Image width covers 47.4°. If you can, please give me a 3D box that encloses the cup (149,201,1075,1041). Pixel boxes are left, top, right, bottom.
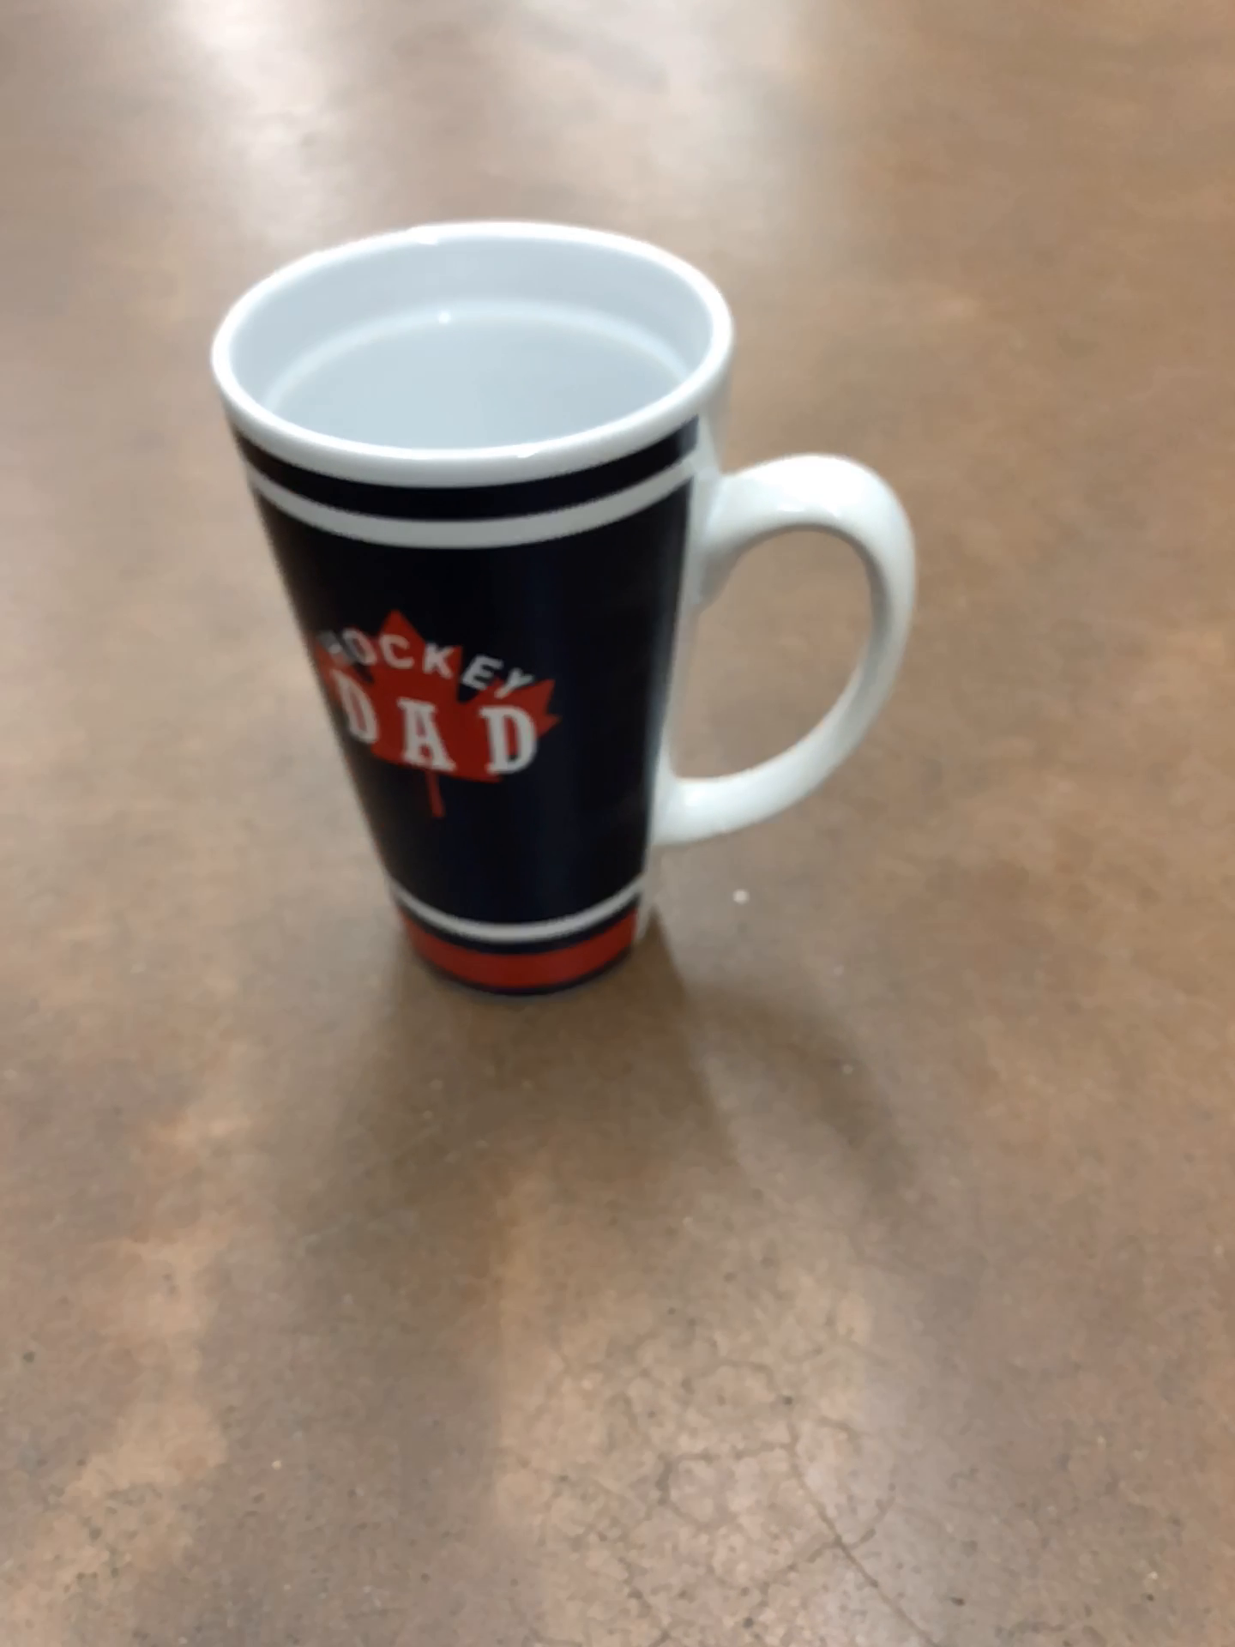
[{"bbox_3d":[0.000,-0.036,0.275,0.130,0.130,0.090,-2,45,0],"label":"cup"}]
